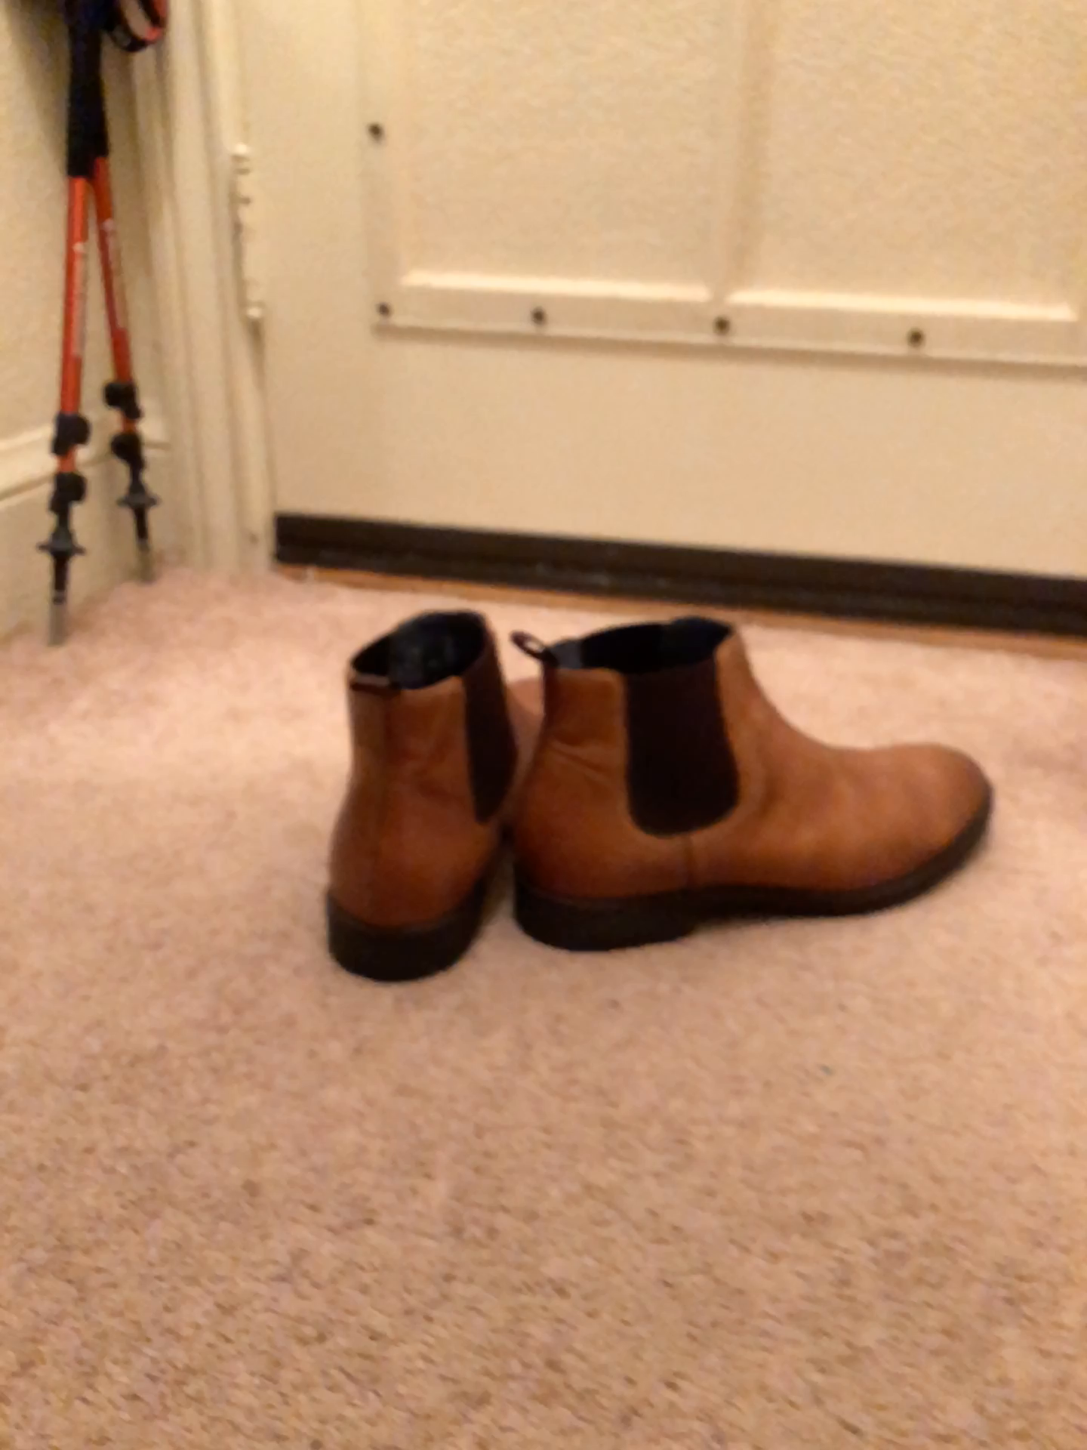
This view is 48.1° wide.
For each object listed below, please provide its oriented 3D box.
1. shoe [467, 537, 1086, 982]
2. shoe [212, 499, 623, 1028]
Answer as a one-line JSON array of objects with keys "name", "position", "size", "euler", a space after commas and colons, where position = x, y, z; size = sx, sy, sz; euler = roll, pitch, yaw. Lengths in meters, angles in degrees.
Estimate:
[{"name": "shoe", "position": [0.125, 0.007, 0.650], "size": [0.312, 0.165, 0.109], "euler": [-8, 26, -18]}, {"name": "shoe", "position": [-0.049, -0.003, 0.689], "size": [0.109, 0.165, 0.314], "euler": [8, 26, 15]}]
